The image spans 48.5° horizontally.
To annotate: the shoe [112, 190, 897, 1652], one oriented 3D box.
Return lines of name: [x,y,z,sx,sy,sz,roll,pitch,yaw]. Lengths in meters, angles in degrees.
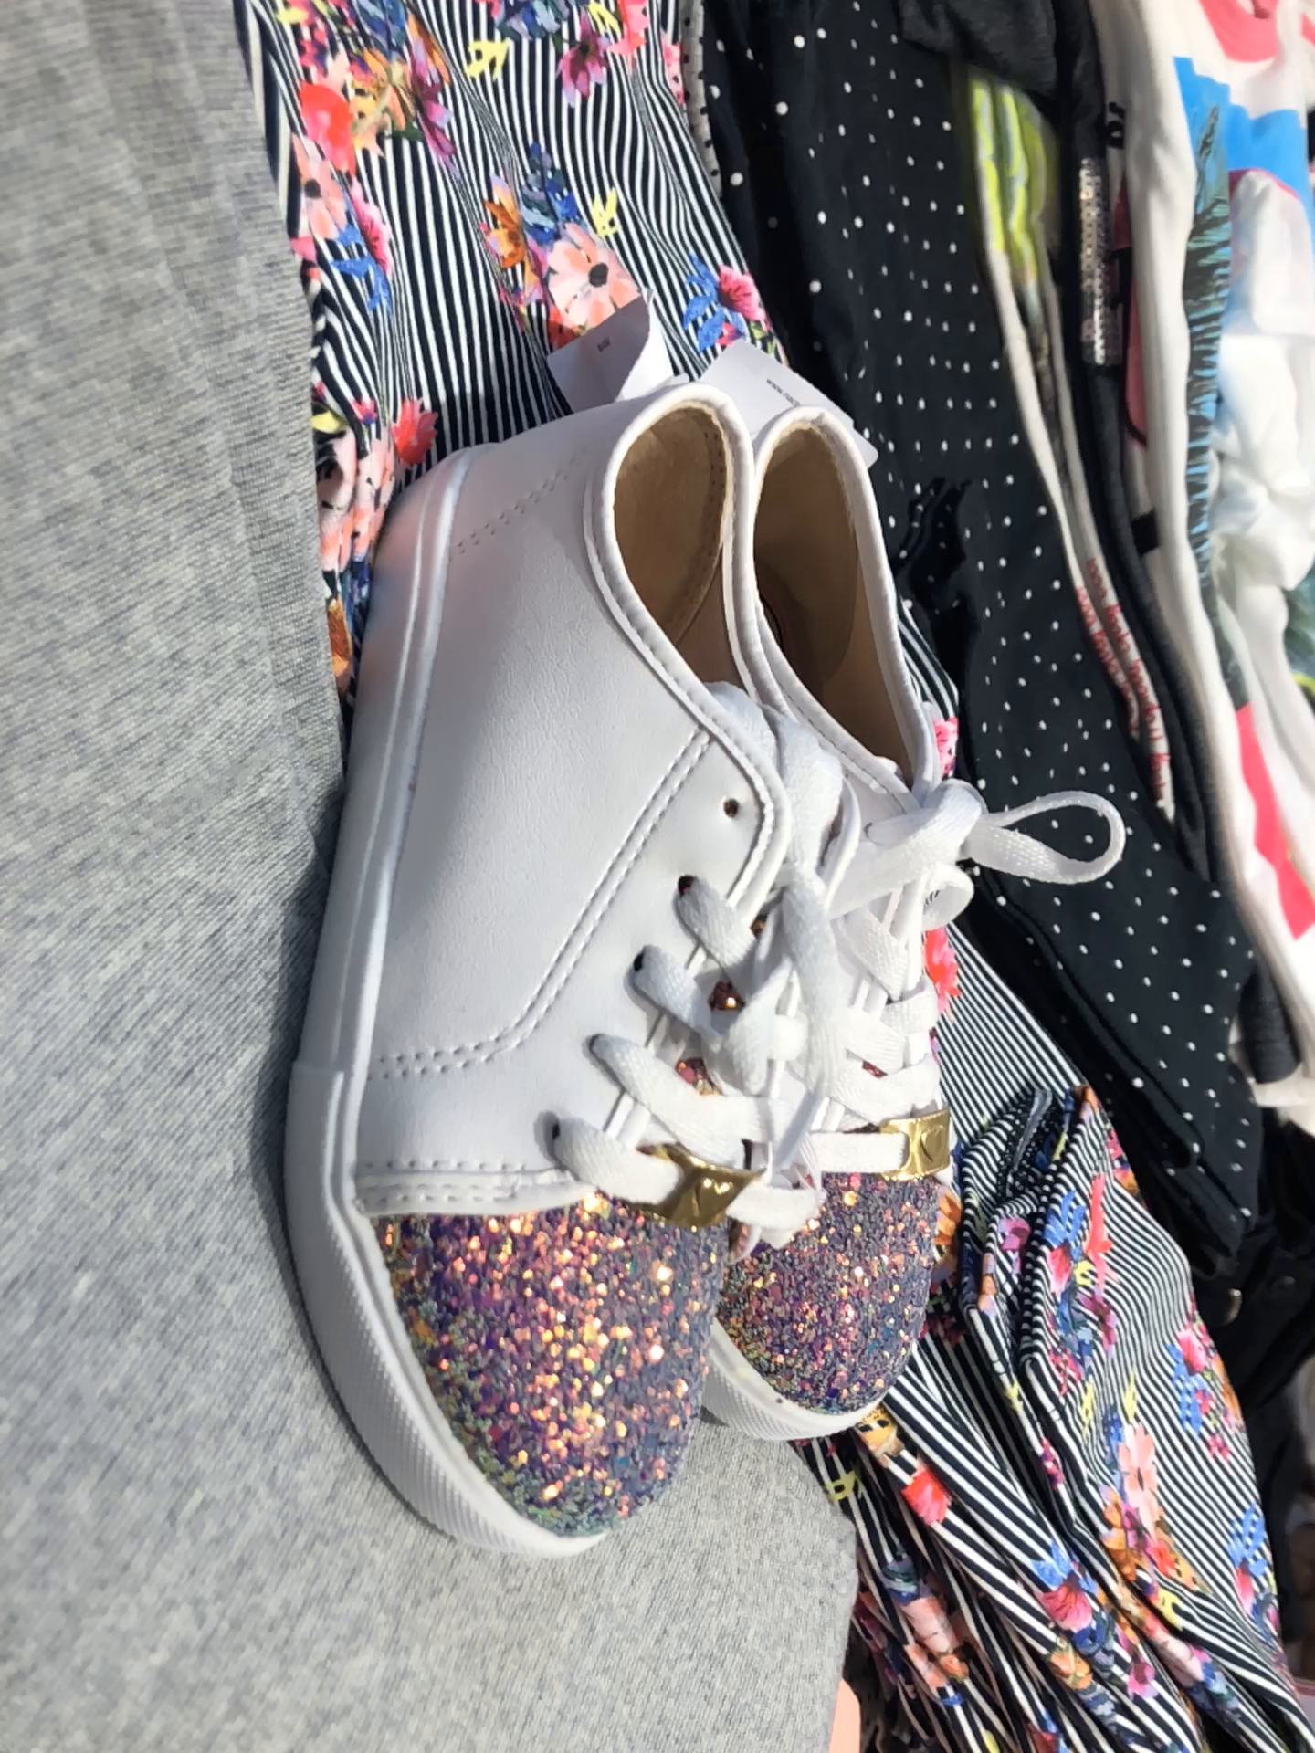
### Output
shoe: [-0.014,0.007,0.233,0.080,0.070,0.190,25,62,-49]

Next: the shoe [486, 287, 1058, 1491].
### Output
shoe: [0.021,0.004,0.289,0.081,0.069,0.200,11,73,-45]
